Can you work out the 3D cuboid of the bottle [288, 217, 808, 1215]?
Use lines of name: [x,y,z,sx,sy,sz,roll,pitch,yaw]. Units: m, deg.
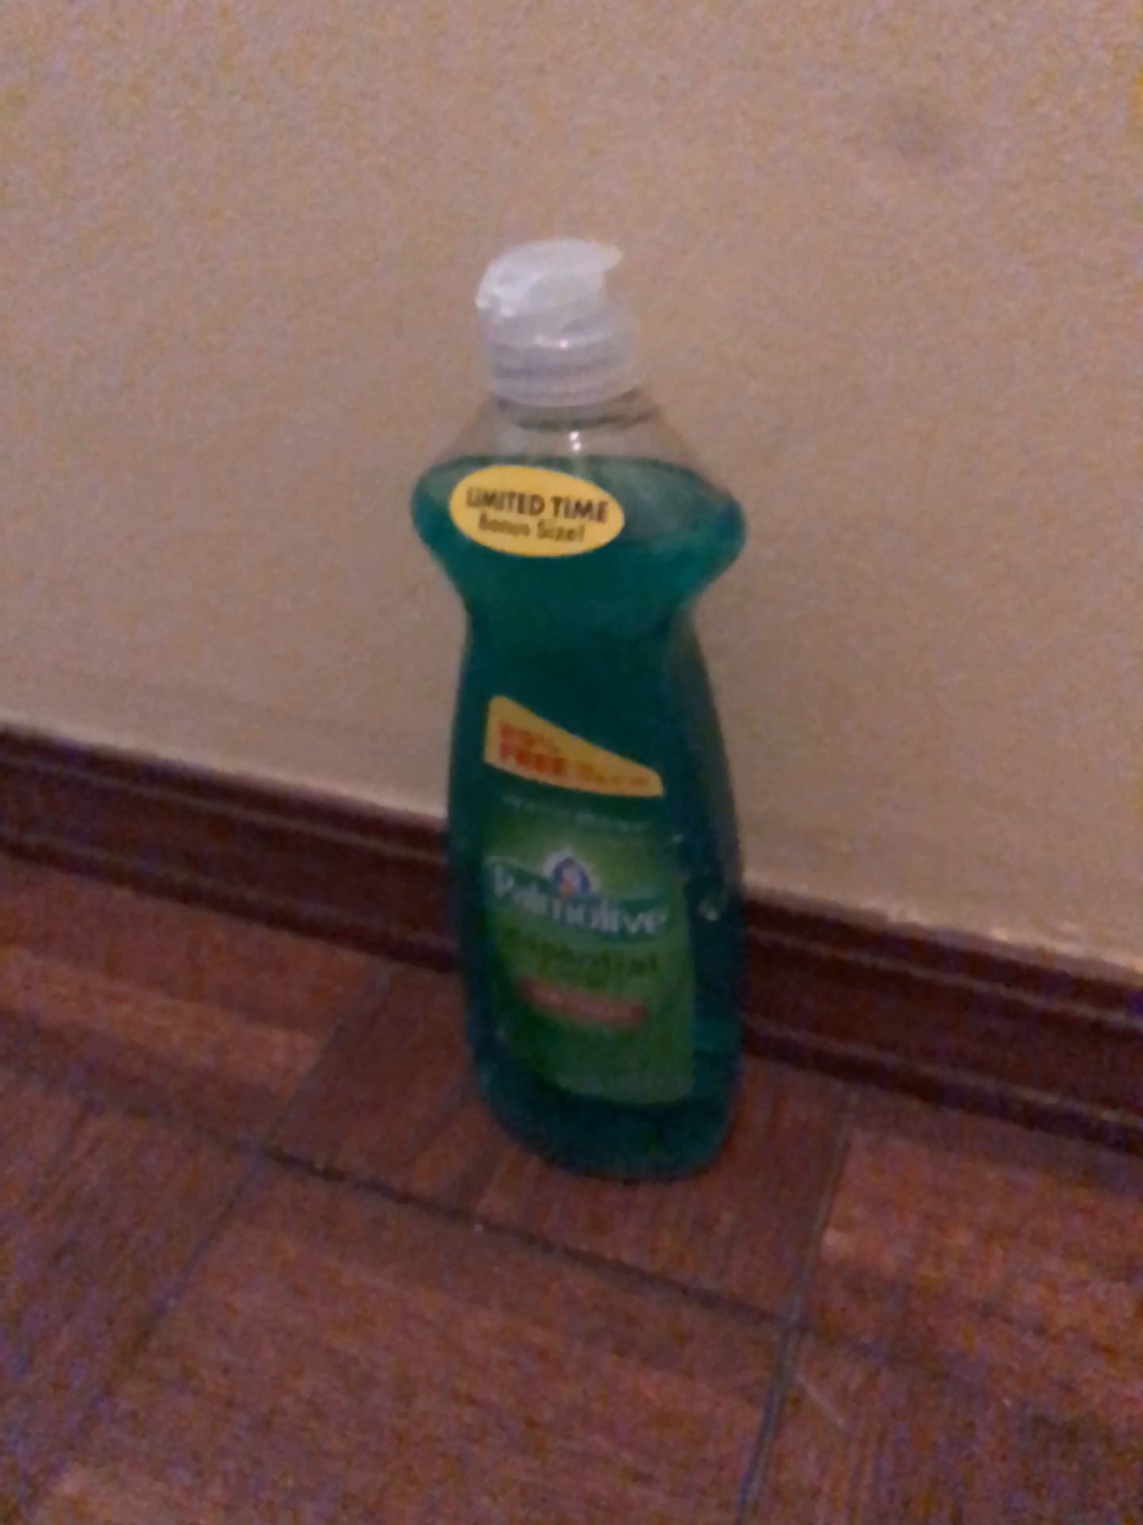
bottle: [0.004,0.003,0.297,0.080,0.229,0.050,10,38,18]
